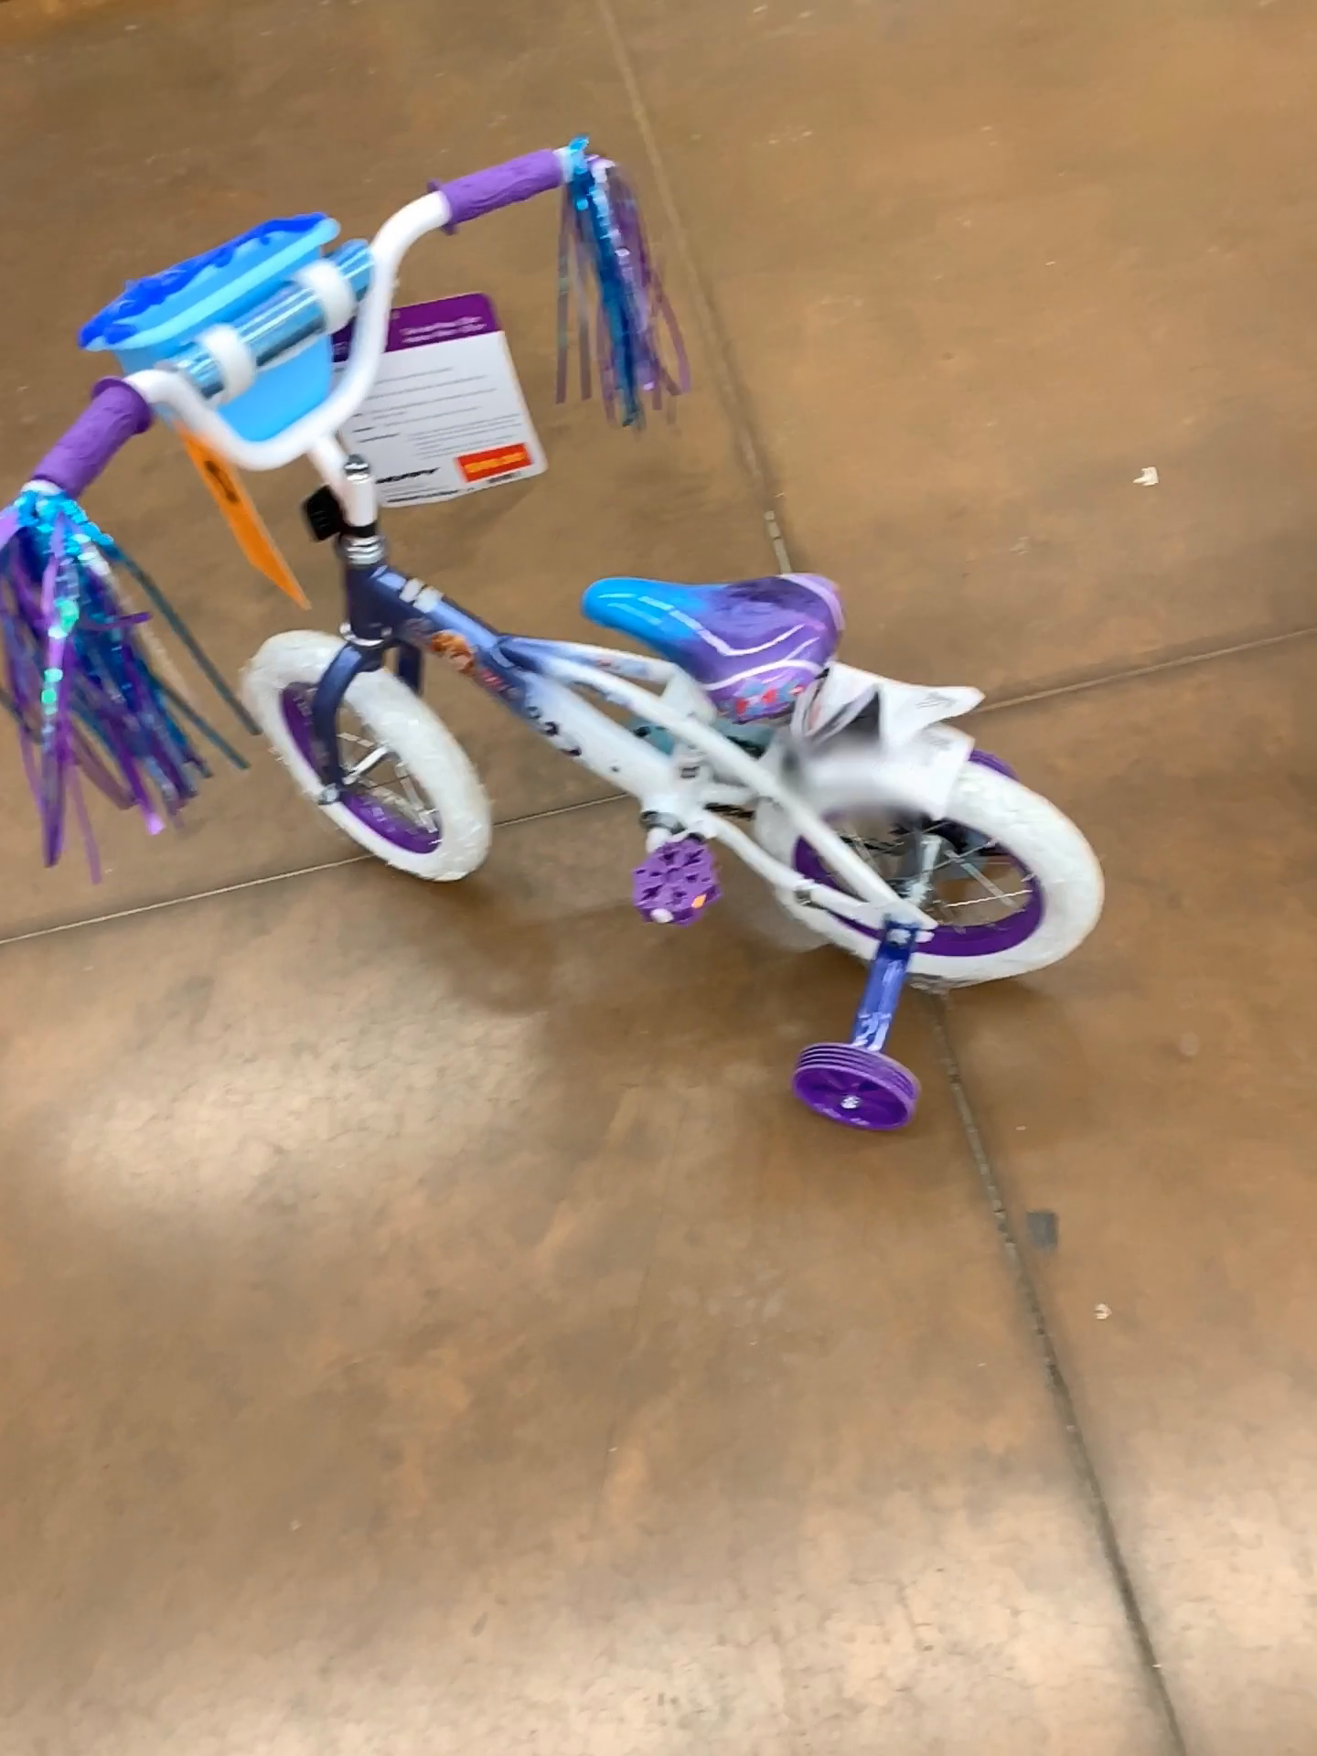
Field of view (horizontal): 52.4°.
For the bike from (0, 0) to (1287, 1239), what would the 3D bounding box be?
[{"bbox_3d":[-0.066,-0.168,1.002,0.805,0.633,0.440,15,60,17],"label":"bike"}]
